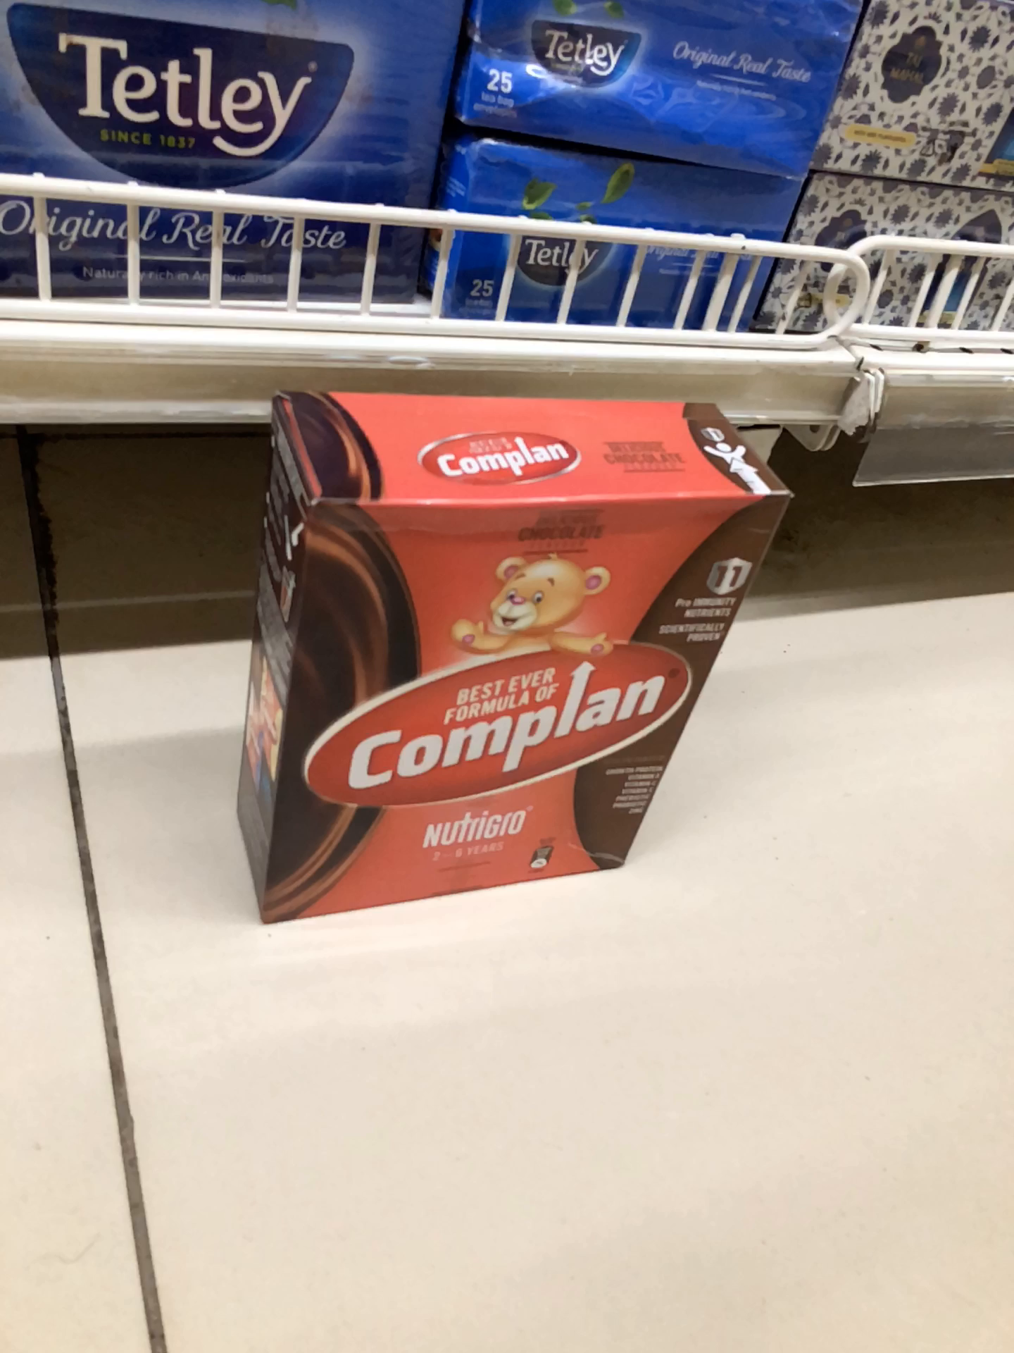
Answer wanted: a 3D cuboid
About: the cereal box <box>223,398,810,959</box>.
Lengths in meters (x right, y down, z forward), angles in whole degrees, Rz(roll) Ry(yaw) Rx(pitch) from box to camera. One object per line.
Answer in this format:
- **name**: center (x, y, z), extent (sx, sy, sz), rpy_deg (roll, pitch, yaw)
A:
- **cereal box**: center (-0.010, 0.006, 0.352), extent (0.140, 0.179, 0.050), rpy_deg (-5, 46, -23)
